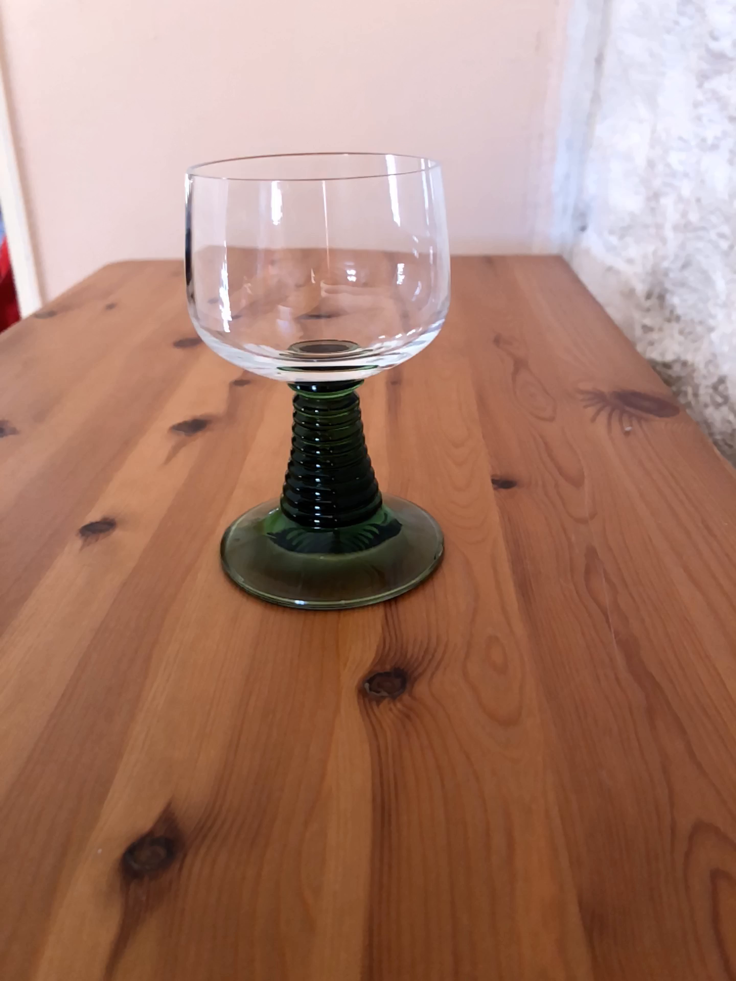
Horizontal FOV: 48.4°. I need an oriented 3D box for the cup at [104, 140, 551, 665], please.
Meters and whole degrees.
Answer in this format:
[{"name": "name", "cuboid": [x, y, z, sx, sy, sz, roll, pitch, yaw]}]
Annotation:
[{"name": "cup", "cuboid": [-0.009, -0.031, 0.214, 0.074, 0.106, 0.074, -1, 27, 0]}]
